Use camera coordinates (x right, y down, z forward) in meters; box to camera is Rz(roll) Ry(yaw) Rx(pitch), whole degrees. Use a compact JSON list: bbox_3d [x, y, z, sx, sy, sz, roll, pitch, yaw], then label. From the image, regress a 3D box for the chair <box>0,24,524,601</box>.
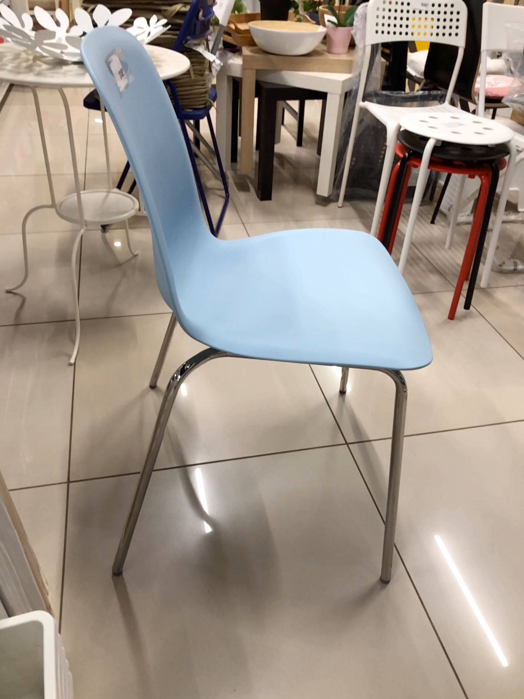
[{"bbox_3d":[-0.015,-0.068,0.964,0.540,0.755,0.564,-1,36,-6],"label":"chair"}]
